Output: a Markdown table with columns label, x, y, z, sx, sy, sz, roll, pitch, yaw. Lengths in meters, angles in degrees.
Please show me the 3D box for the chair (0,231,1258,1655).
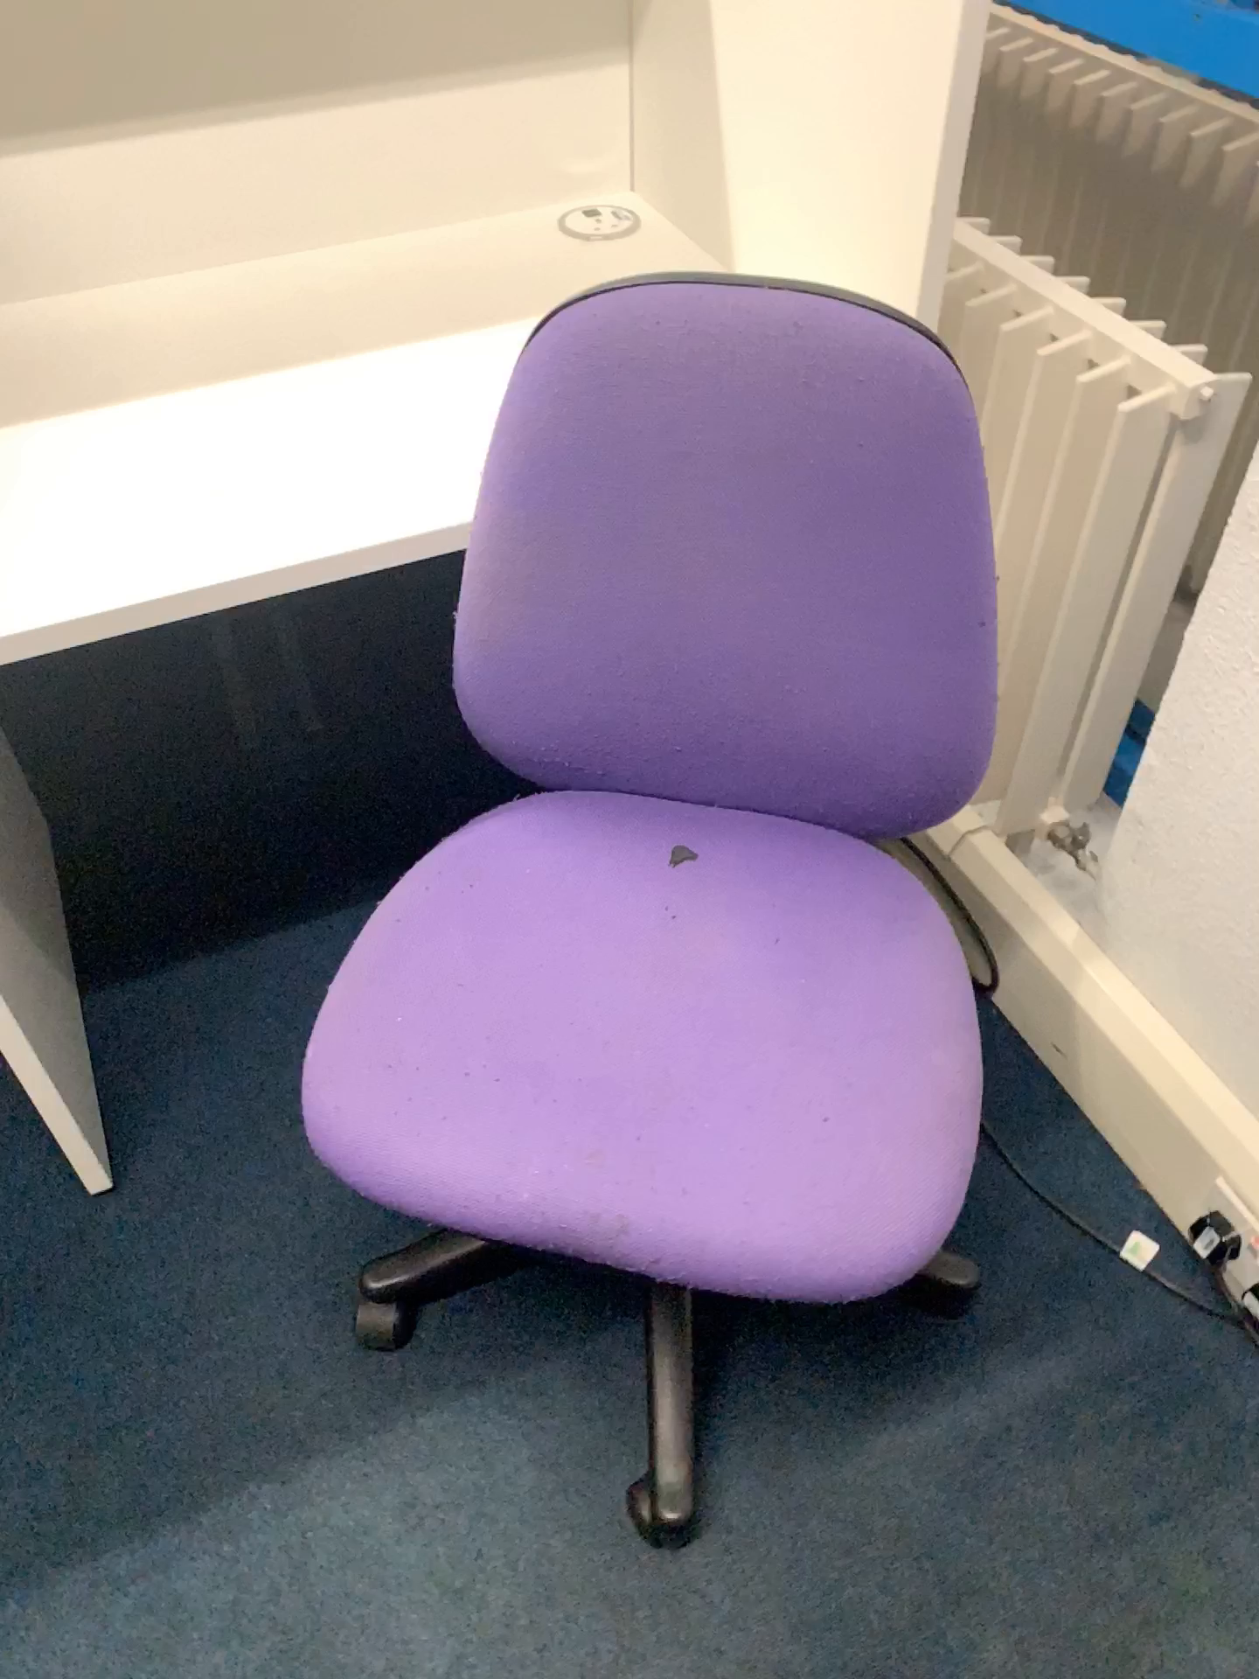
| label | x | y | z | sx | sy | sz | roll | pitch | yaw |
| --- | --- | --- | --- | --- | --- | --- | --- | --- | --- |
| chair | 0.050 | 0.097 | 1.060 | 0.690 | 0.862 | 0.656 | 10 | 46 | 11 |
